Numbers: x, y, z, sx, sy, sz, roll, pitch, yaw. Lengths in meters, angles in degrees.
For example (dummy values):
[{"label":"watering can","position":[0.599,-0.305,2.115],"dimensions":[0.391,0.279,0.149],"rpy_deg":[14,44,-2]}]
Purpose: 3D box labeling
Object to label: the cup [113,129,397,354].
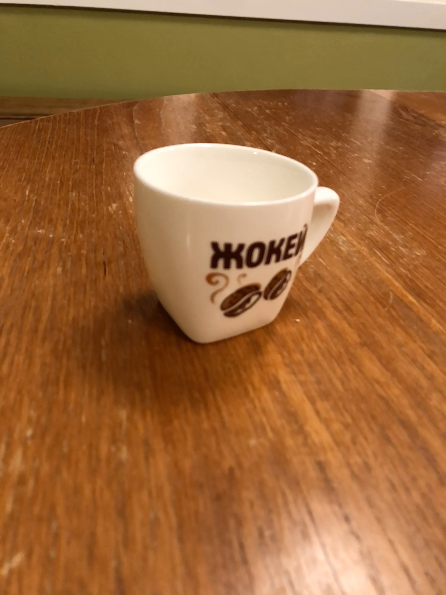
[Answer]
[{"label":"cup","position":[0.008,-0.026,0.178],"dimensions":[0.076,0.047,0.060],"rpy_deg":[-15,38,-27]}]
